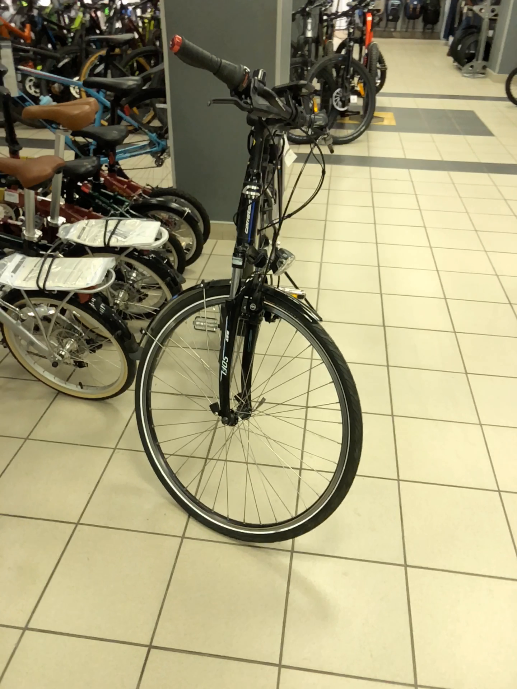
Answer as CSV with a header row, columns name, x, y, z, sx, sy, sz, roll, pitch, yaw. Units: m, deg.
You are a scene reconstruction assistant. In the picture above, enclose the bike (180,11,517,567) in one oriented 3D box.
name,x,y,z,sx,sy,sz,roll,pitch,yaw
bike,0.125,-0.357,1.926,0.696,1.176,1.621,-3,35,-6
